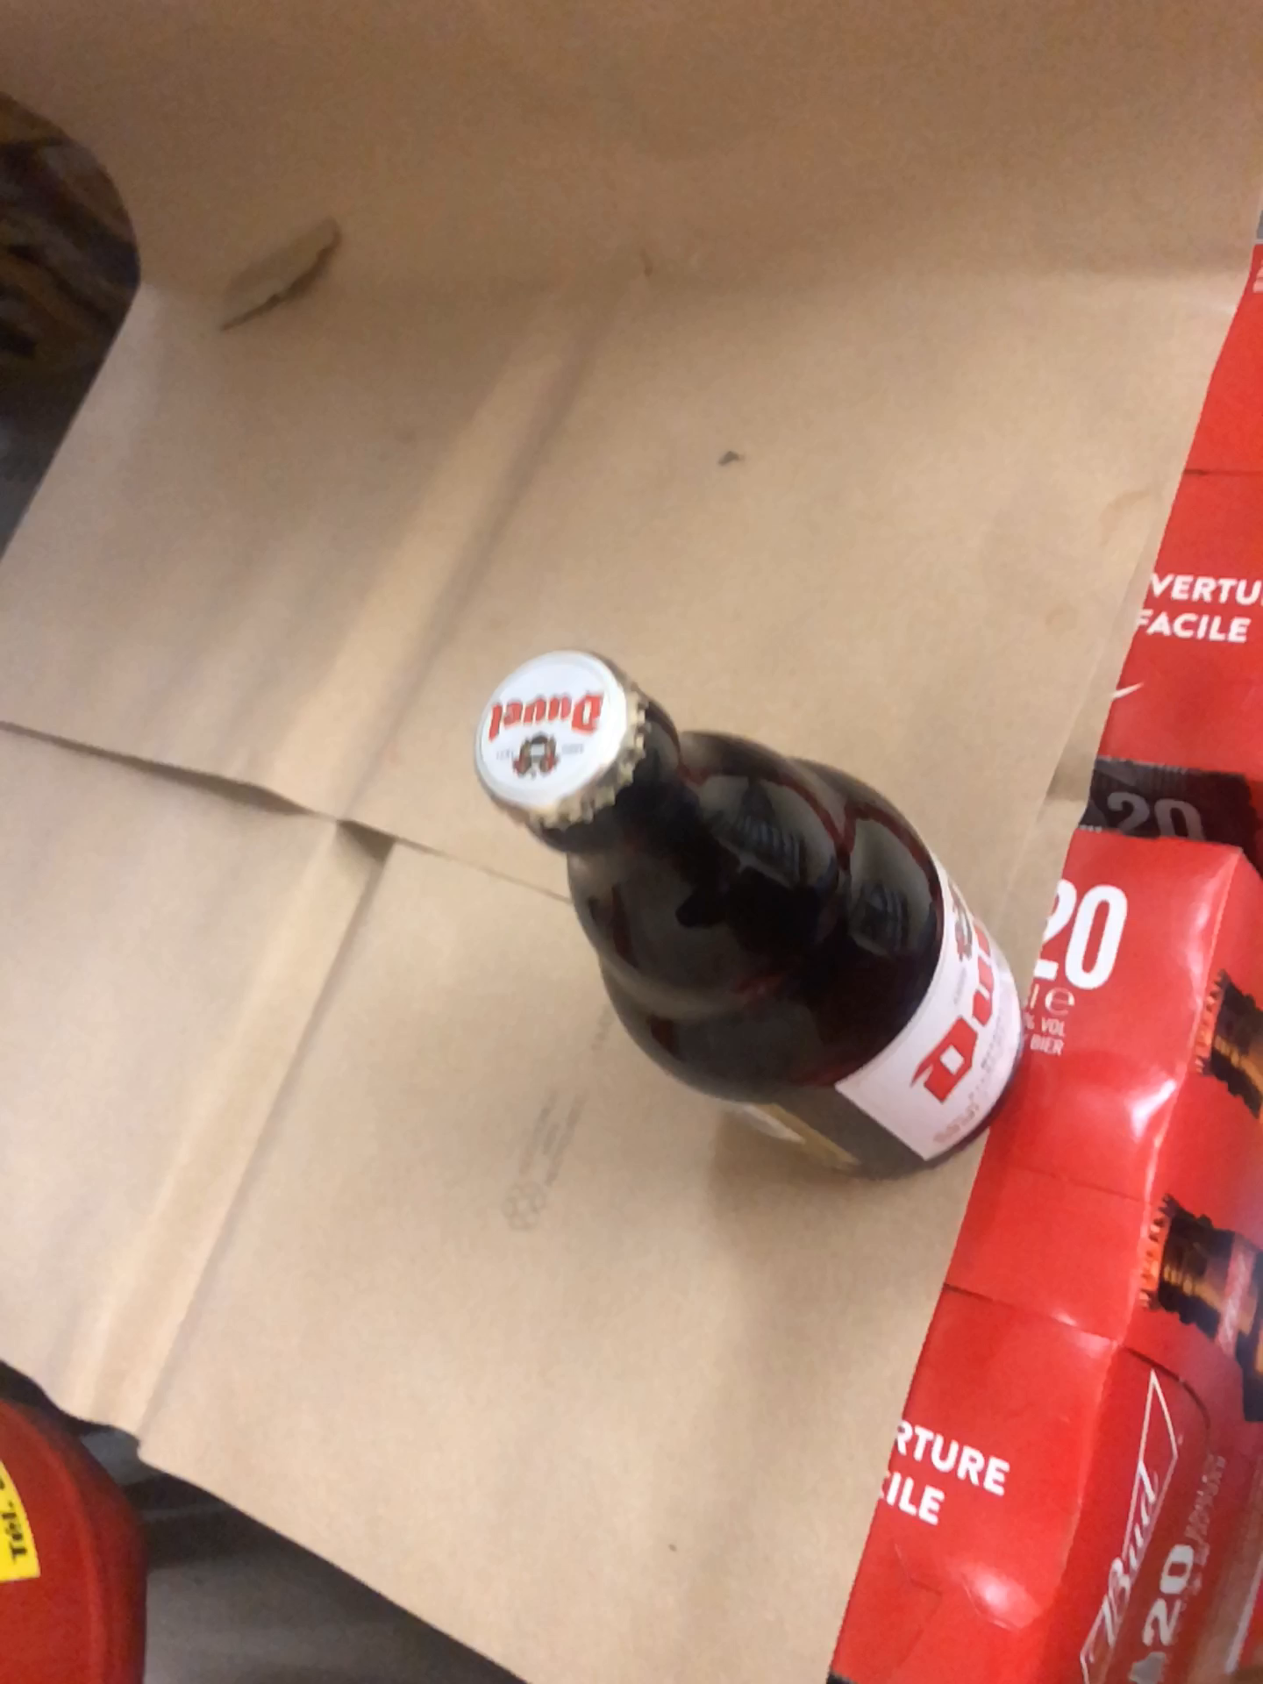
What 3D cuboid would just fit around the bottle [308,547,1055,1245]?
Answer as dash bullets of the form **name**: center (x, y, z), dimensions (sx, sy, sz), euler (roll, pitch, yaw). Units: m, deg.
- **bottle**: center (0.026, 0.027, 0.269), dimensions (0.070, 0.170, 0.080), euler (-6, 68, 27)
